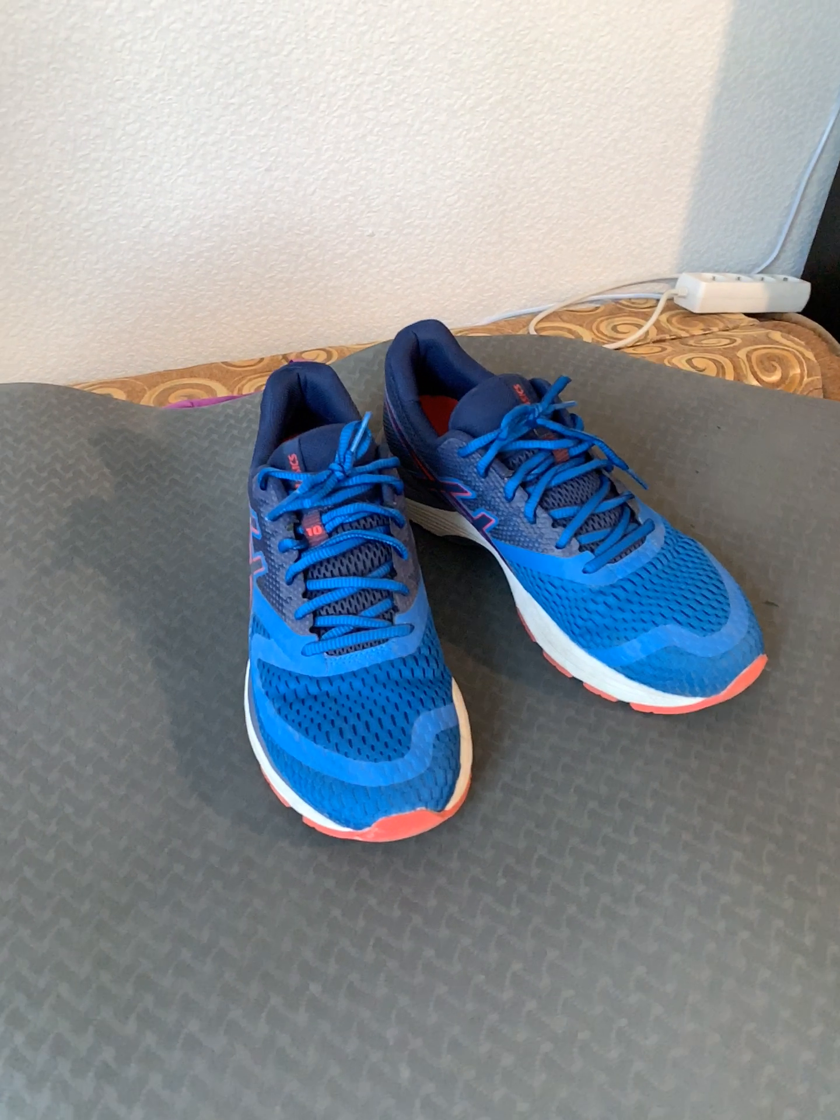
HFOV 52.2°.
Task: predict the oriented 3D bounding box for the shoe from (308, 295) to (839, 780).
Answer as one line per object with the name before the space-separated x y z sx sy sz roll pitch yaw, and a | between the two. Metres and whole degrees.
shoe | 0.070 -0.034 0.516 0.120 0.109 0.301 -28 51 -26

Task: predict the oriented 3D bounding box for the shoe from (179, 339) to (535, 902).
shoe | -0.051 0.008 0.479 0.120 0.109 0.301 -11 45 -11
